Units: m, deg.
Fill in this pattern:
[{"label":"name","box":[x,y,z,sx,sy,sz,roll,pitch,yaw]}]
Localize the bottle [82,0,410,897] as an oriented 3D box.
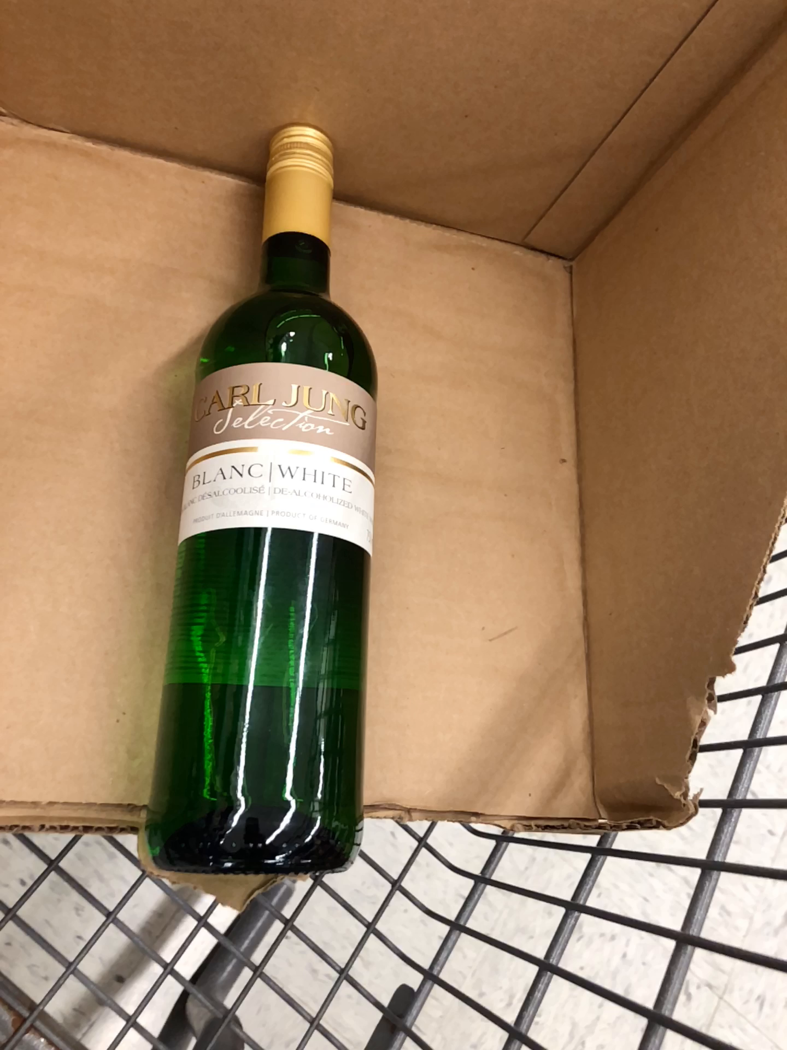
[{"label":"bottle","box":[-0.046,-0.044,0.330,0.080,0.100,0.331,5,72,-9]}]
